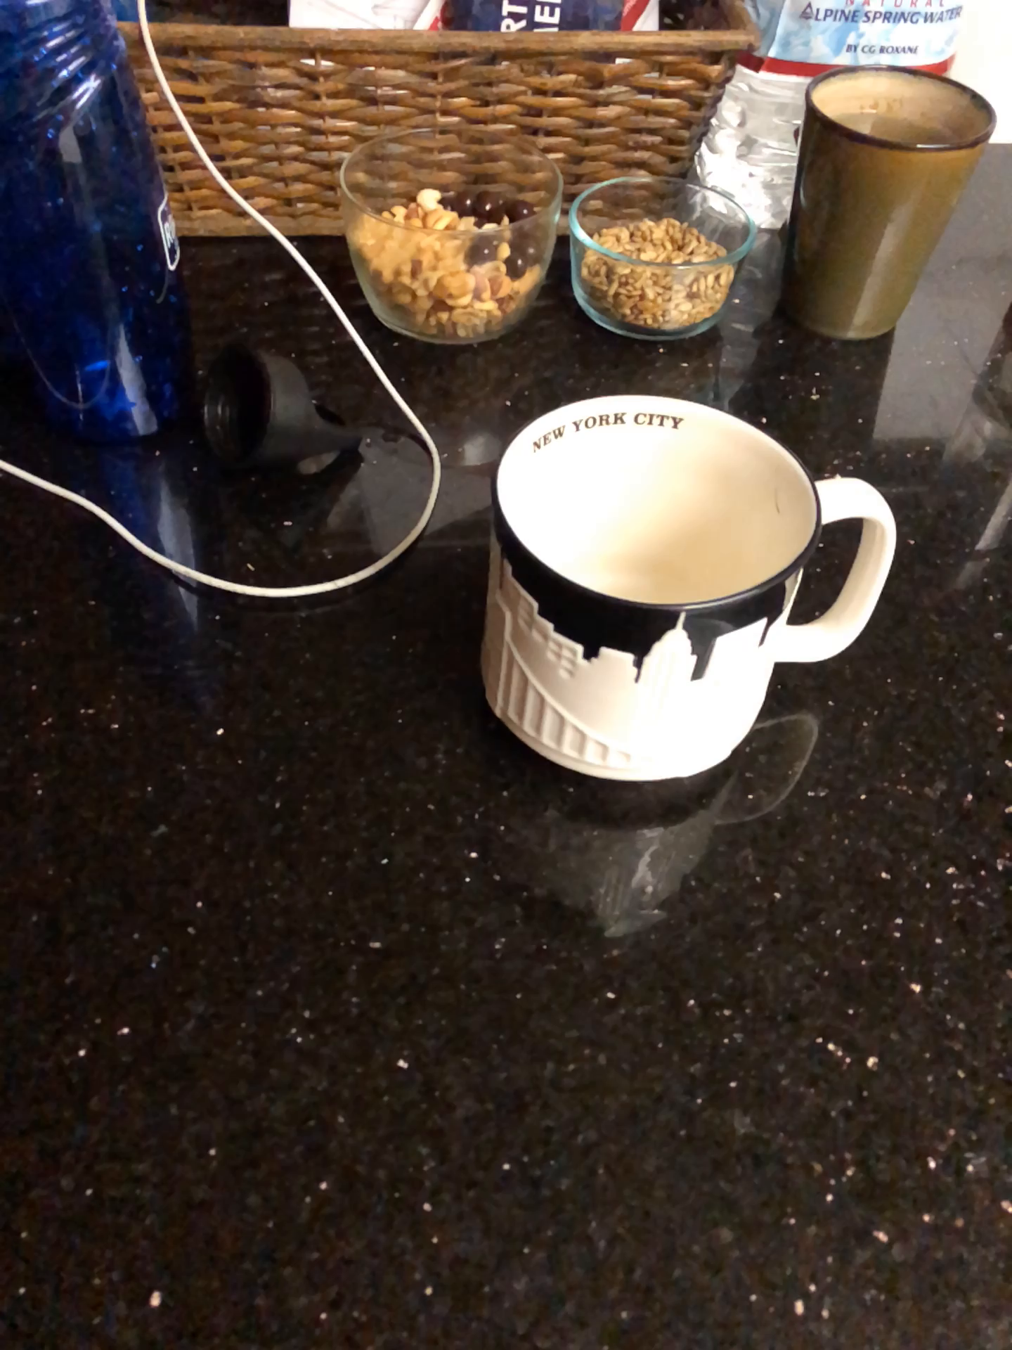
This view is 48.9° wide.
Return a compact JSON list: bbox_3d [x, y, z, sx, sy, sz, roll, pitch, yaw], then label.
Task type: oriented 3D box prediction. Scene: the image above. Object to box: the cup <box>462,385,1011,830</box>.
[{"bbox_3d":[0.065,-0.026,0.387,0.150,0.090,0.121,-3,49,-6],"label":"cup"}]
